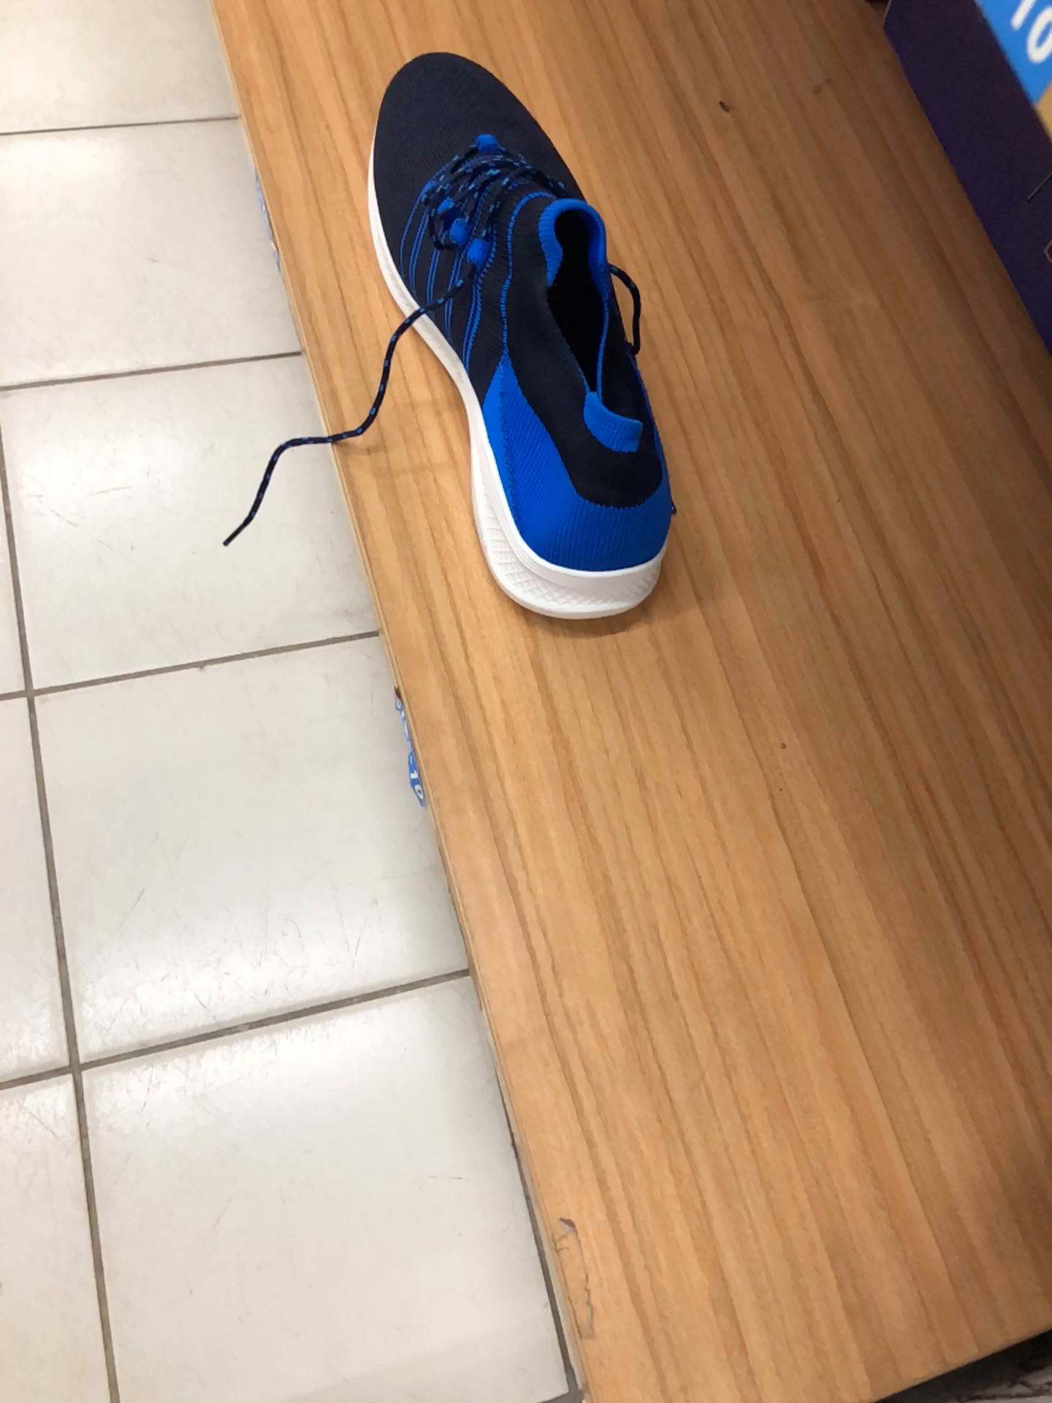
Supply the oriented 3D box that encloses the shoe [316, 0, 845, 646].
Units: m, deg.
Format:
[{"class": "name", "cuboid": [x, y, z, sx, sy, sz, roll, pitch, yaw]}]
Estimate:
[{"class": "shoe", "cuboid": [0.005, -0.172, 0.460, 0.110, 0.110, 0.260, -14, 71, -14]}]
